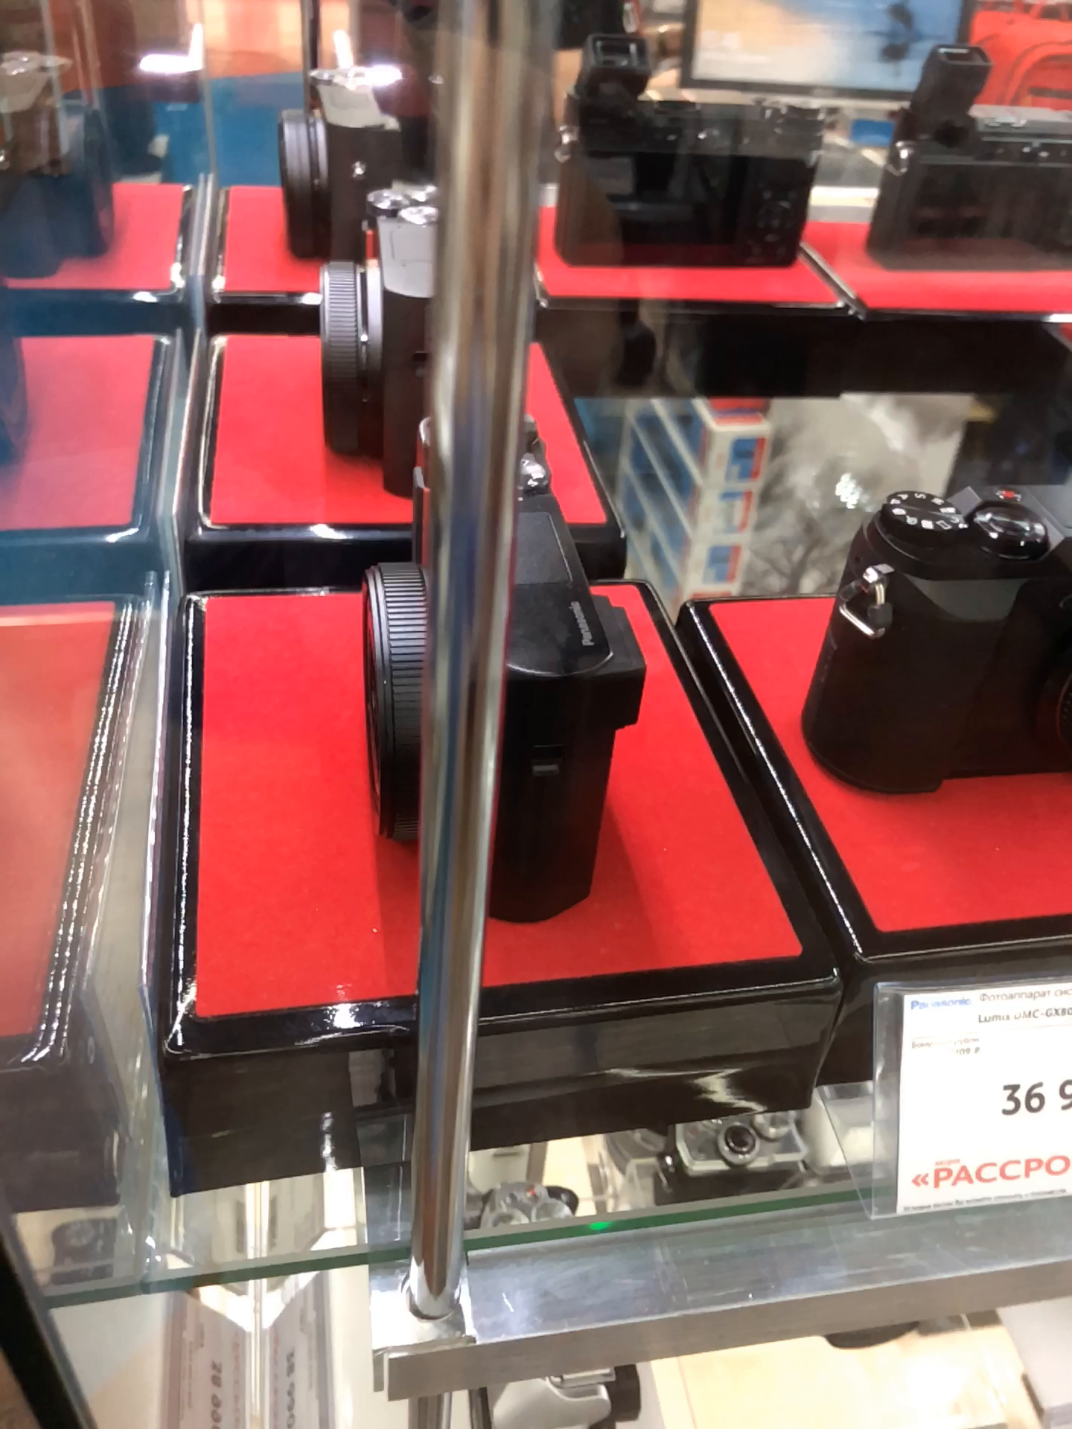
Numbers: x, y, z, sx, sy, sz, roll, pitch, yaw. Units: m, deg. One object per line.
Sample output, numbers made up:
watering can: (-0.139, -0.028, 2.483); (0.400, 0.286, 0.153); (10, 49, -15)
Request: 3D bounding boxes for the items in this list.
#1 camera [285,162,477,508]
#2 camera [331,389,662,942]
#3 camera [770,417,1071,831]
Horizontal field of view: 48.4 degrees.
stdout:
camera: (-0.054, -0.133, 0.411); (0.055, 0.076, 0.114); (-1, 39, -8)
camera: (-0.016, -0.017, 0.268); (0.052, 0.070, 0.110); (-3, 40, -11)
camera: (0.119, -0.022, 0.281); (0.102, 0.076, 0.054); (-3, 40, -11)
